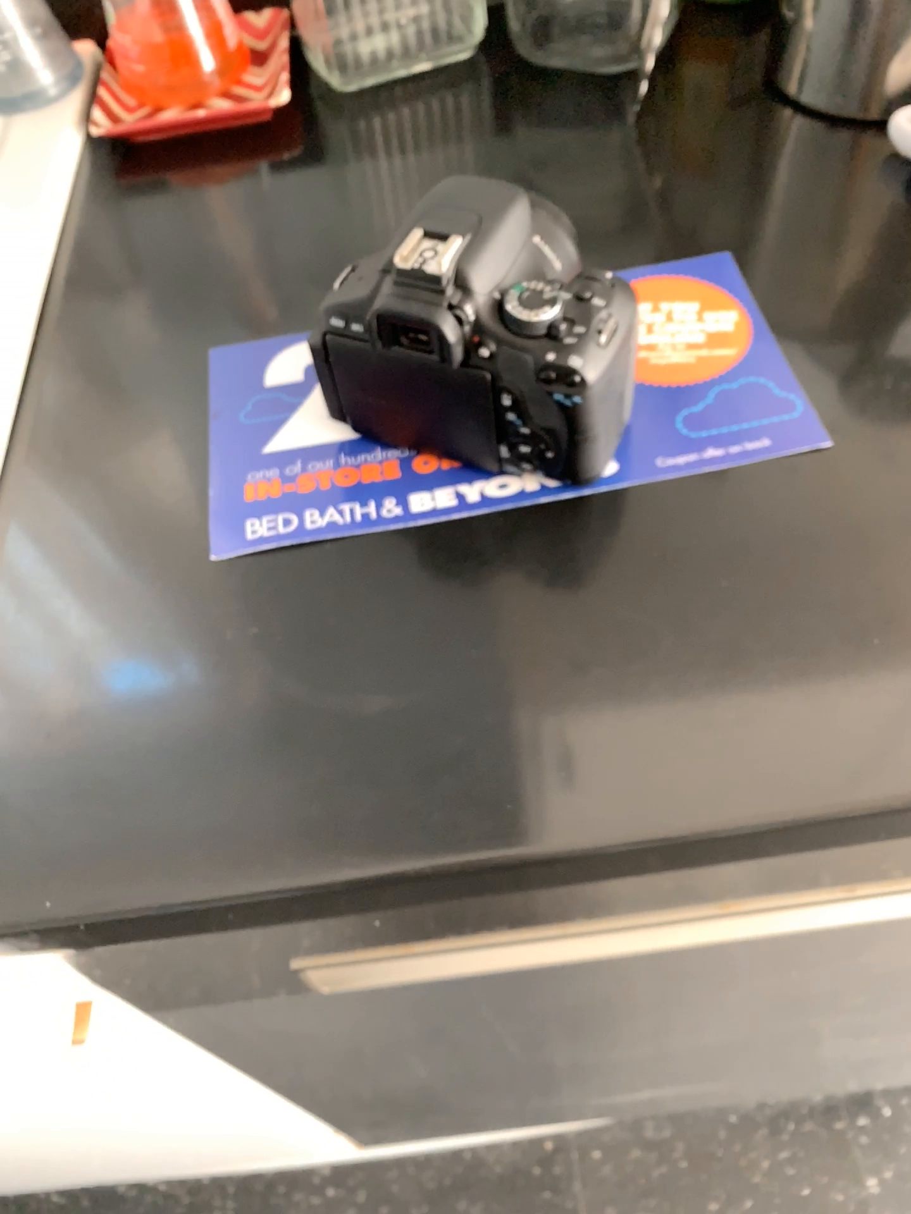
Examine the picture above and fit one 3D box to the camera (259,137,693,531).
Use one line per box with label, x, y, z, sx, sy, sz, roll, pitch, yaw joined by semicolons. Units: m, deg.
camera;0.013;-0.116;0.395;0.133;0.088;0.103;19;59;19
